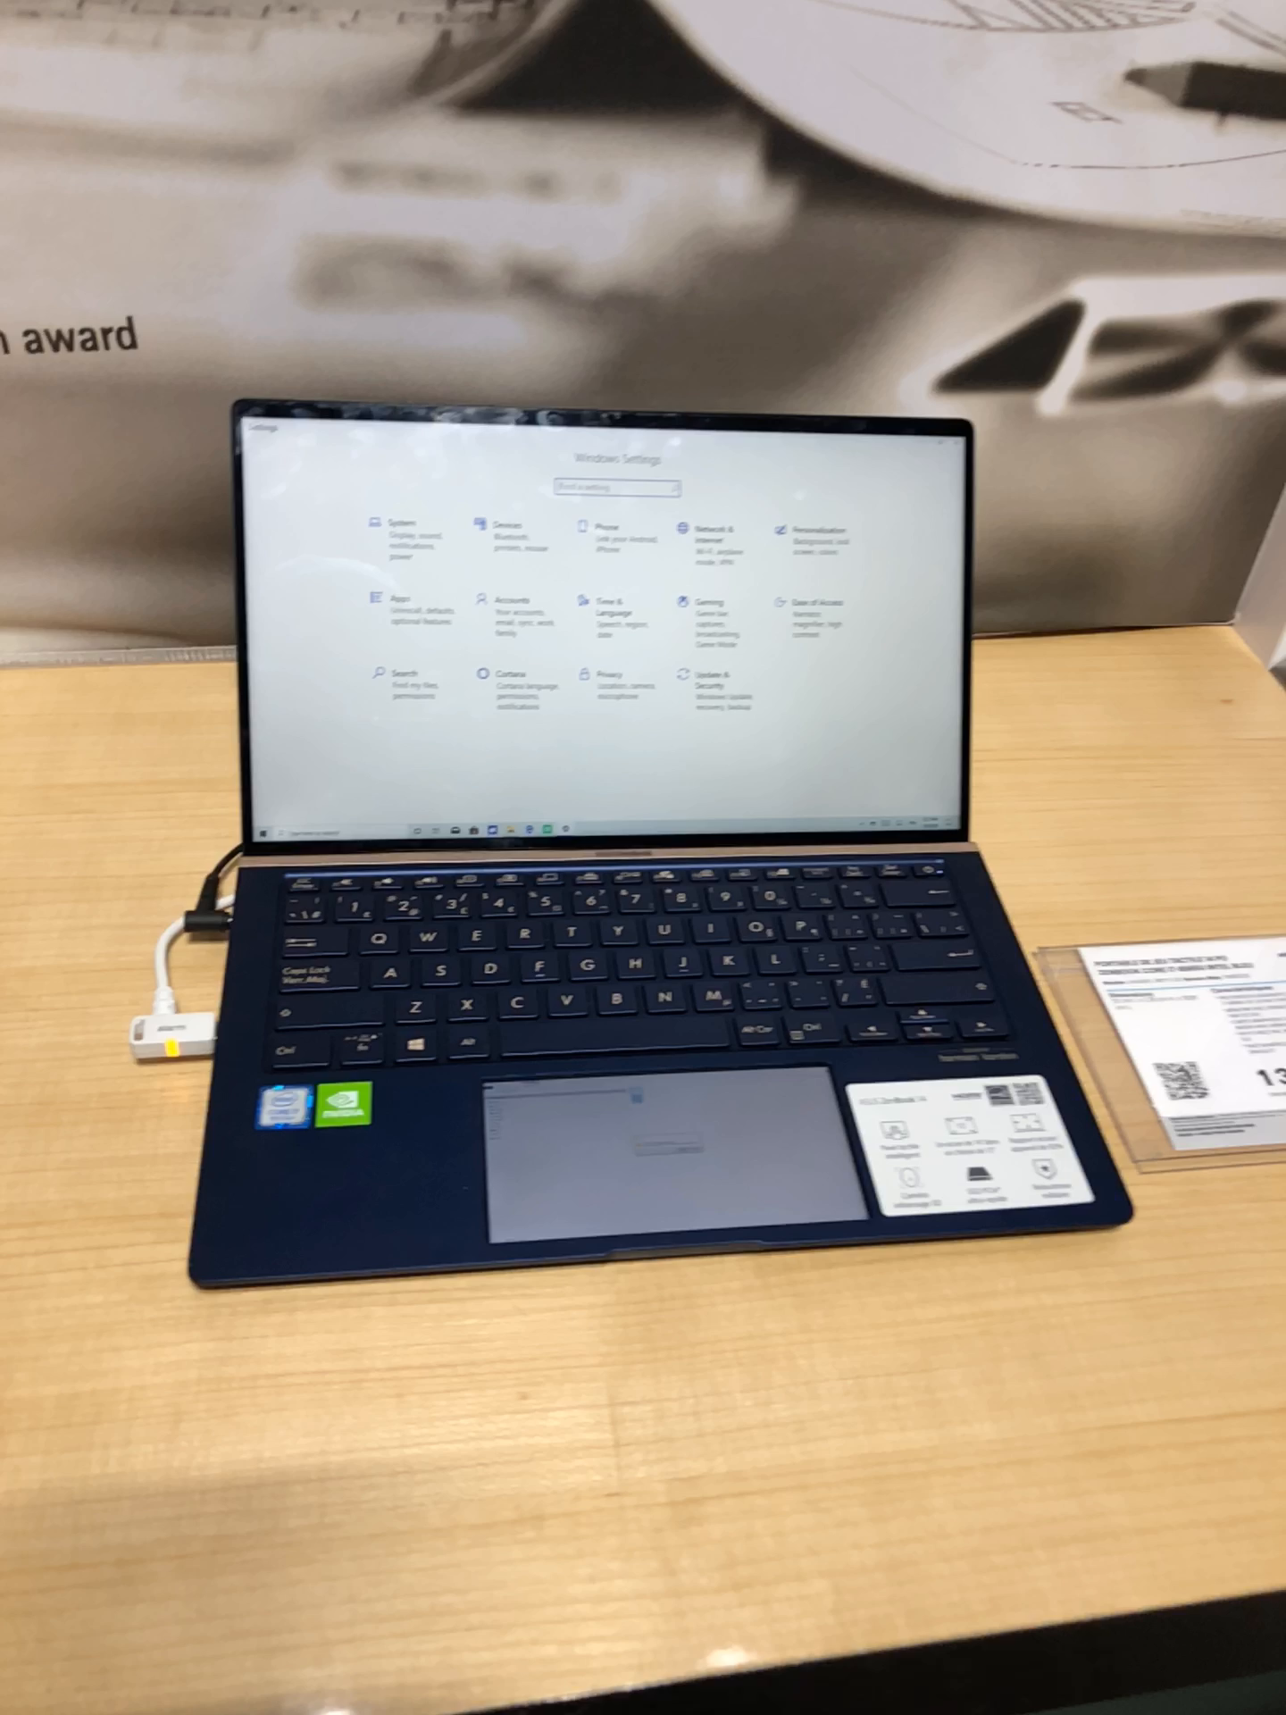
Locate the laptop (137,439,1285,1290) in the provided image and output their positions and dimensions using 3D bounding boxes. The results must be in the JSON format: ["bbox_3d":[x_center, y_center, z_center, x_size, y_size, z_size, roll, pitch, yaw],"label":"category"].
[{"bbox_3d":[0.010,-0.026,0.568,0.332,0.159,0.322,-2,40,-8],"label":"laptop"}]
